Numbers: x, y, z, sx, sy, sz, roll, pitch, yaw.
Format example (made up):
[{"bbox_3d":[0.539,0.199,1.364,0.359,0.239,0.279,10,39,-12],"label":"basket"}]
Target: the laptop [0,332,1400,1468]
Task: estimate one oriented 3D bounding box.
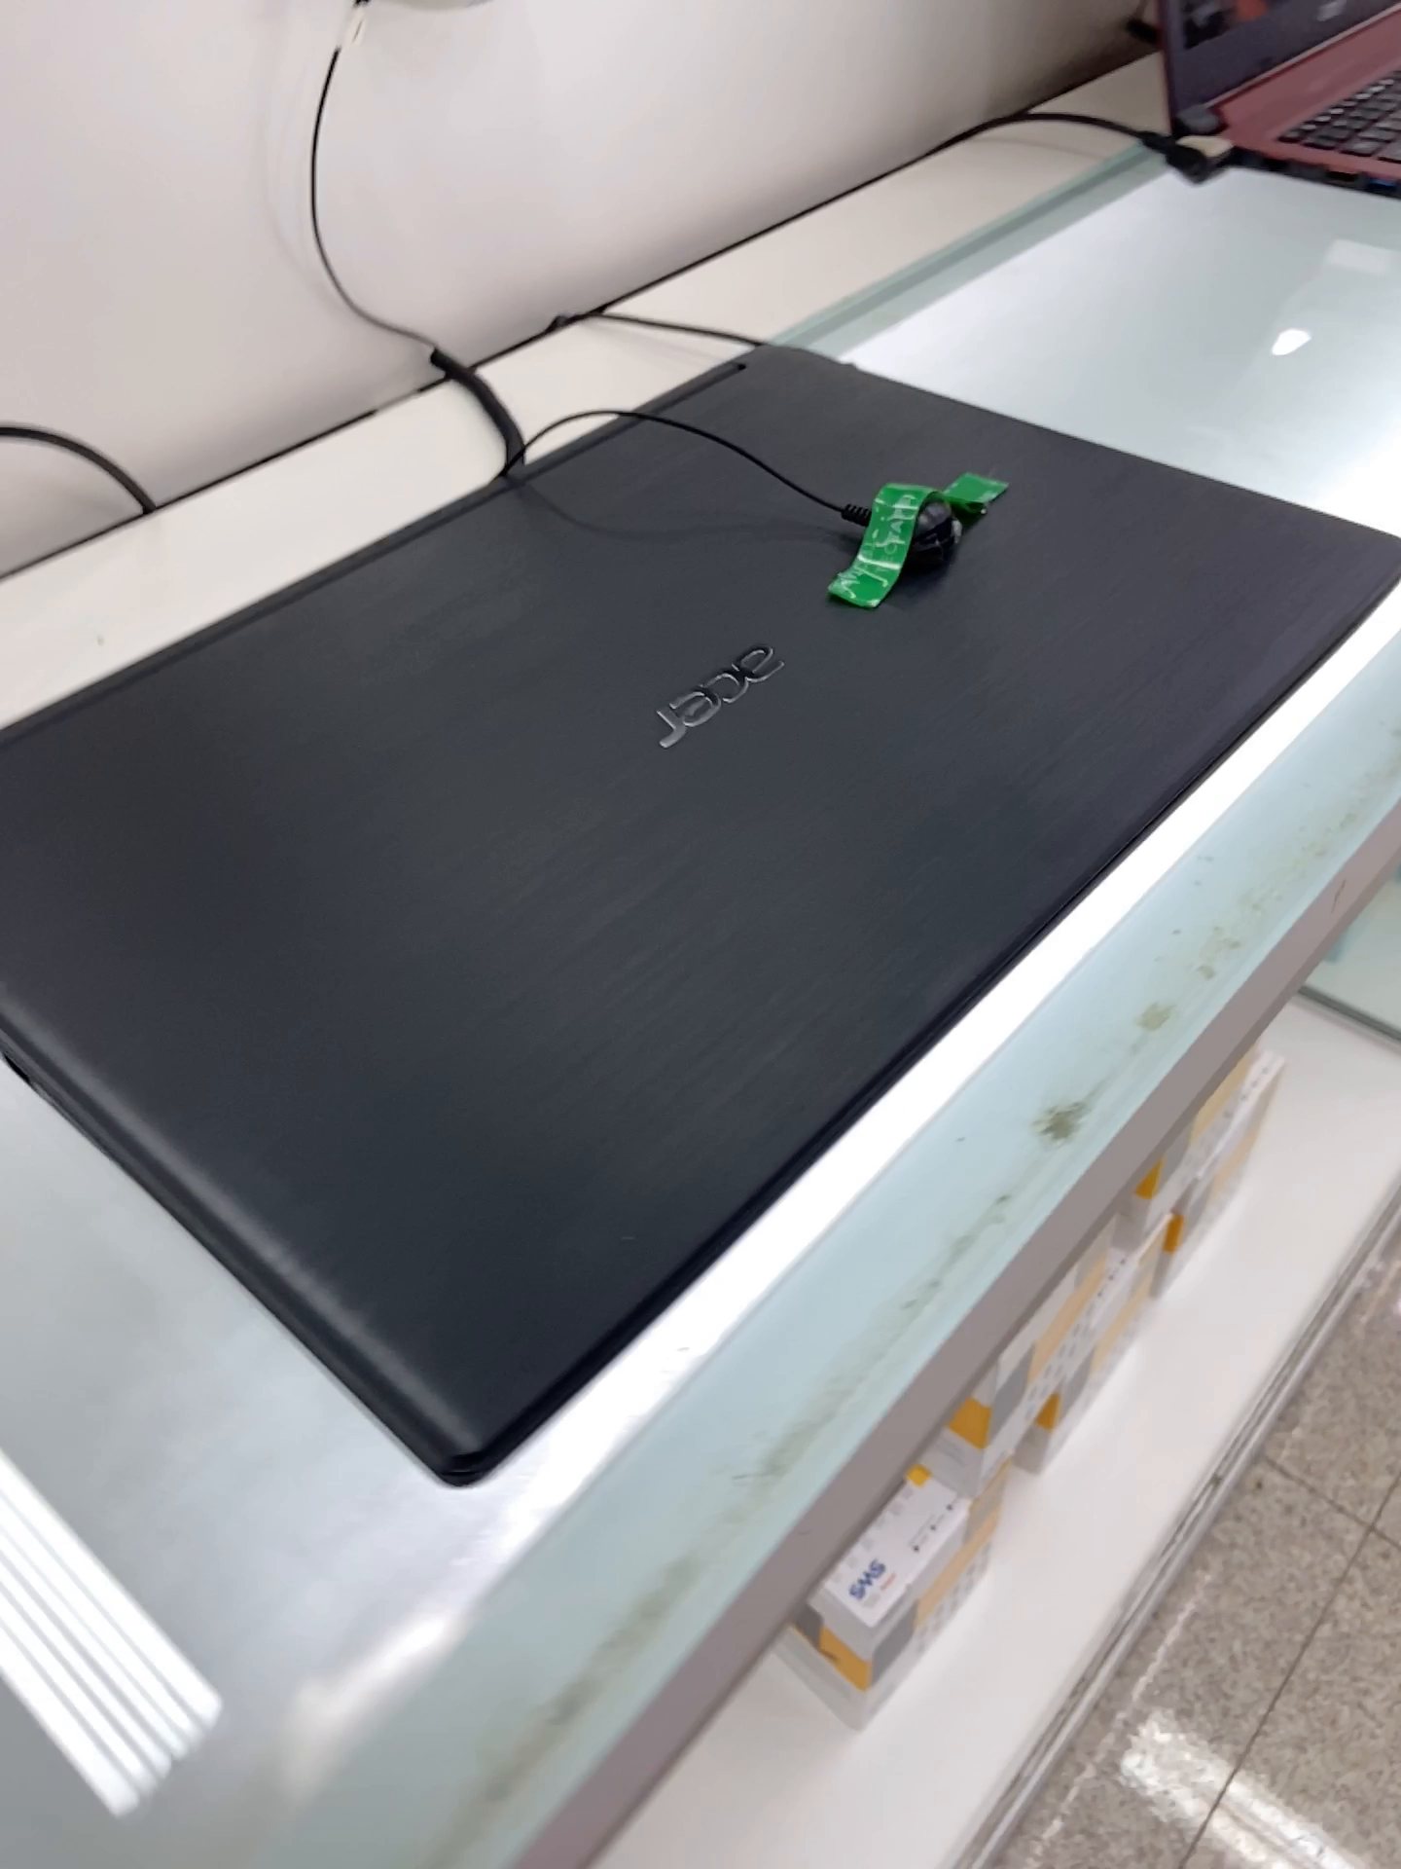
[{"bbox_3d":[-0.001,-0.073,0.401,0.248,0.001,0.388,30,53,29],"label":"laptop"}]
